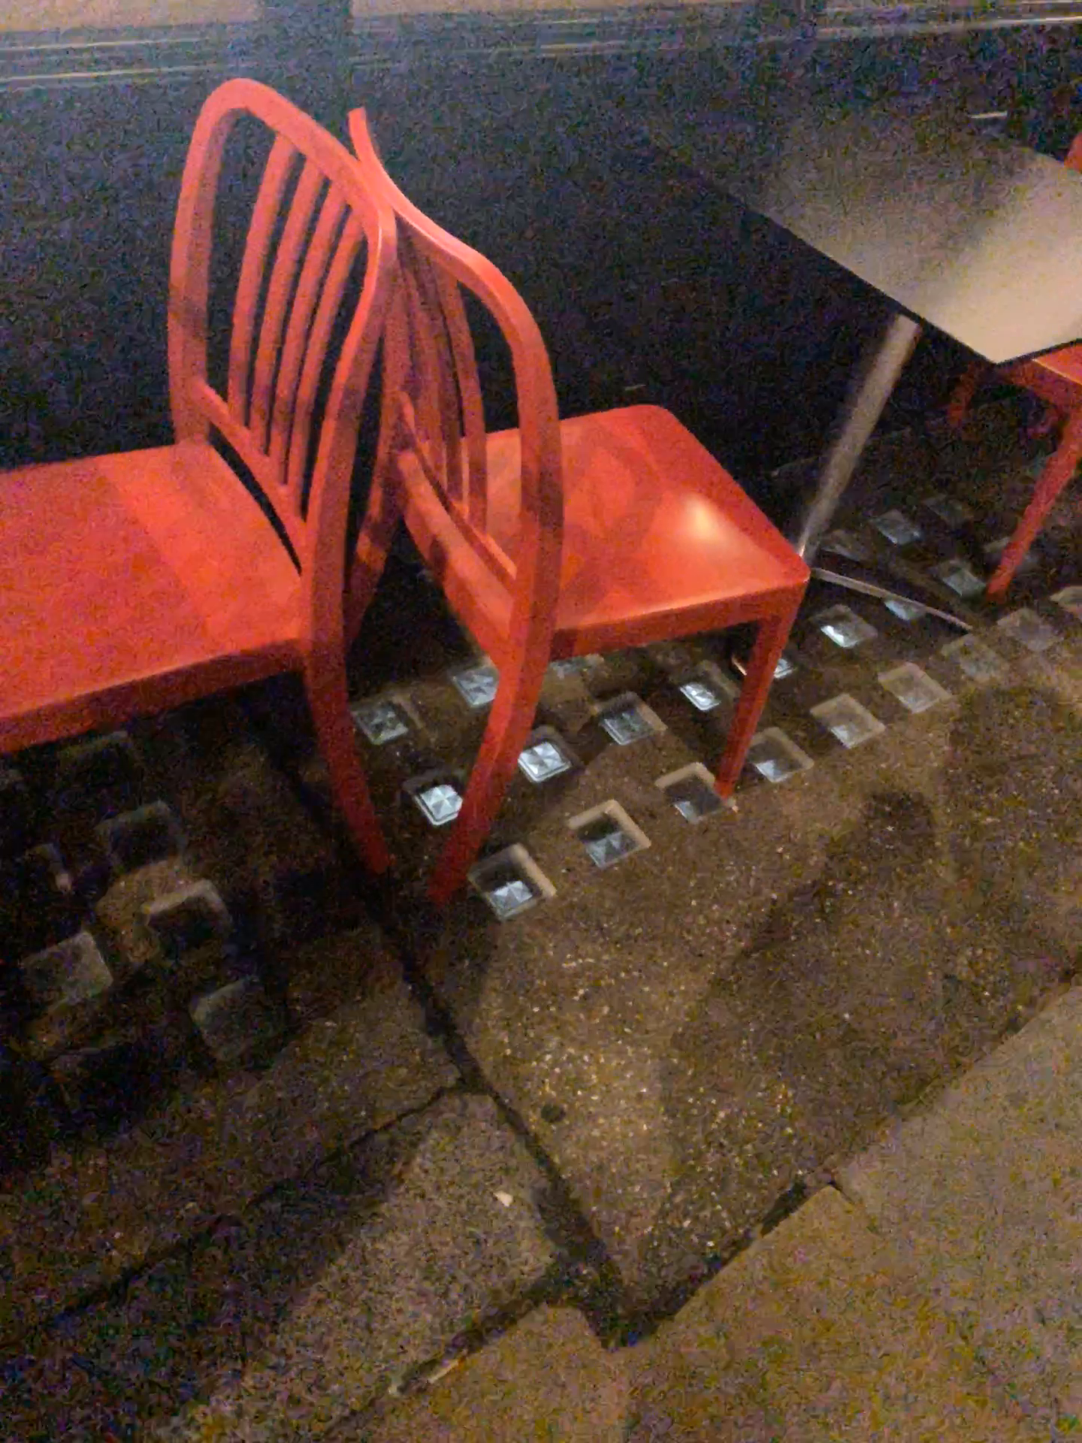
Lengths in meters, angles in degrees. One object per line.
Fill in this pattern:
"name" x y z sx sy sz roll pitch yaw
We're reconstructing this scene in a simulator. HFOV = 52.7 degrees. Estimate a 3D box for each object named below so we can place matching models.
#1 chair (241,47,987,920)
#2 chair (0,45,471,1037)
"chair" 0.013 -0.306 1.429 0.562 0.851 0.574 -18 51 -25
"chair" -0.477 -0.194 1.245 0.542 0.851 0.544 -21 52 -27
